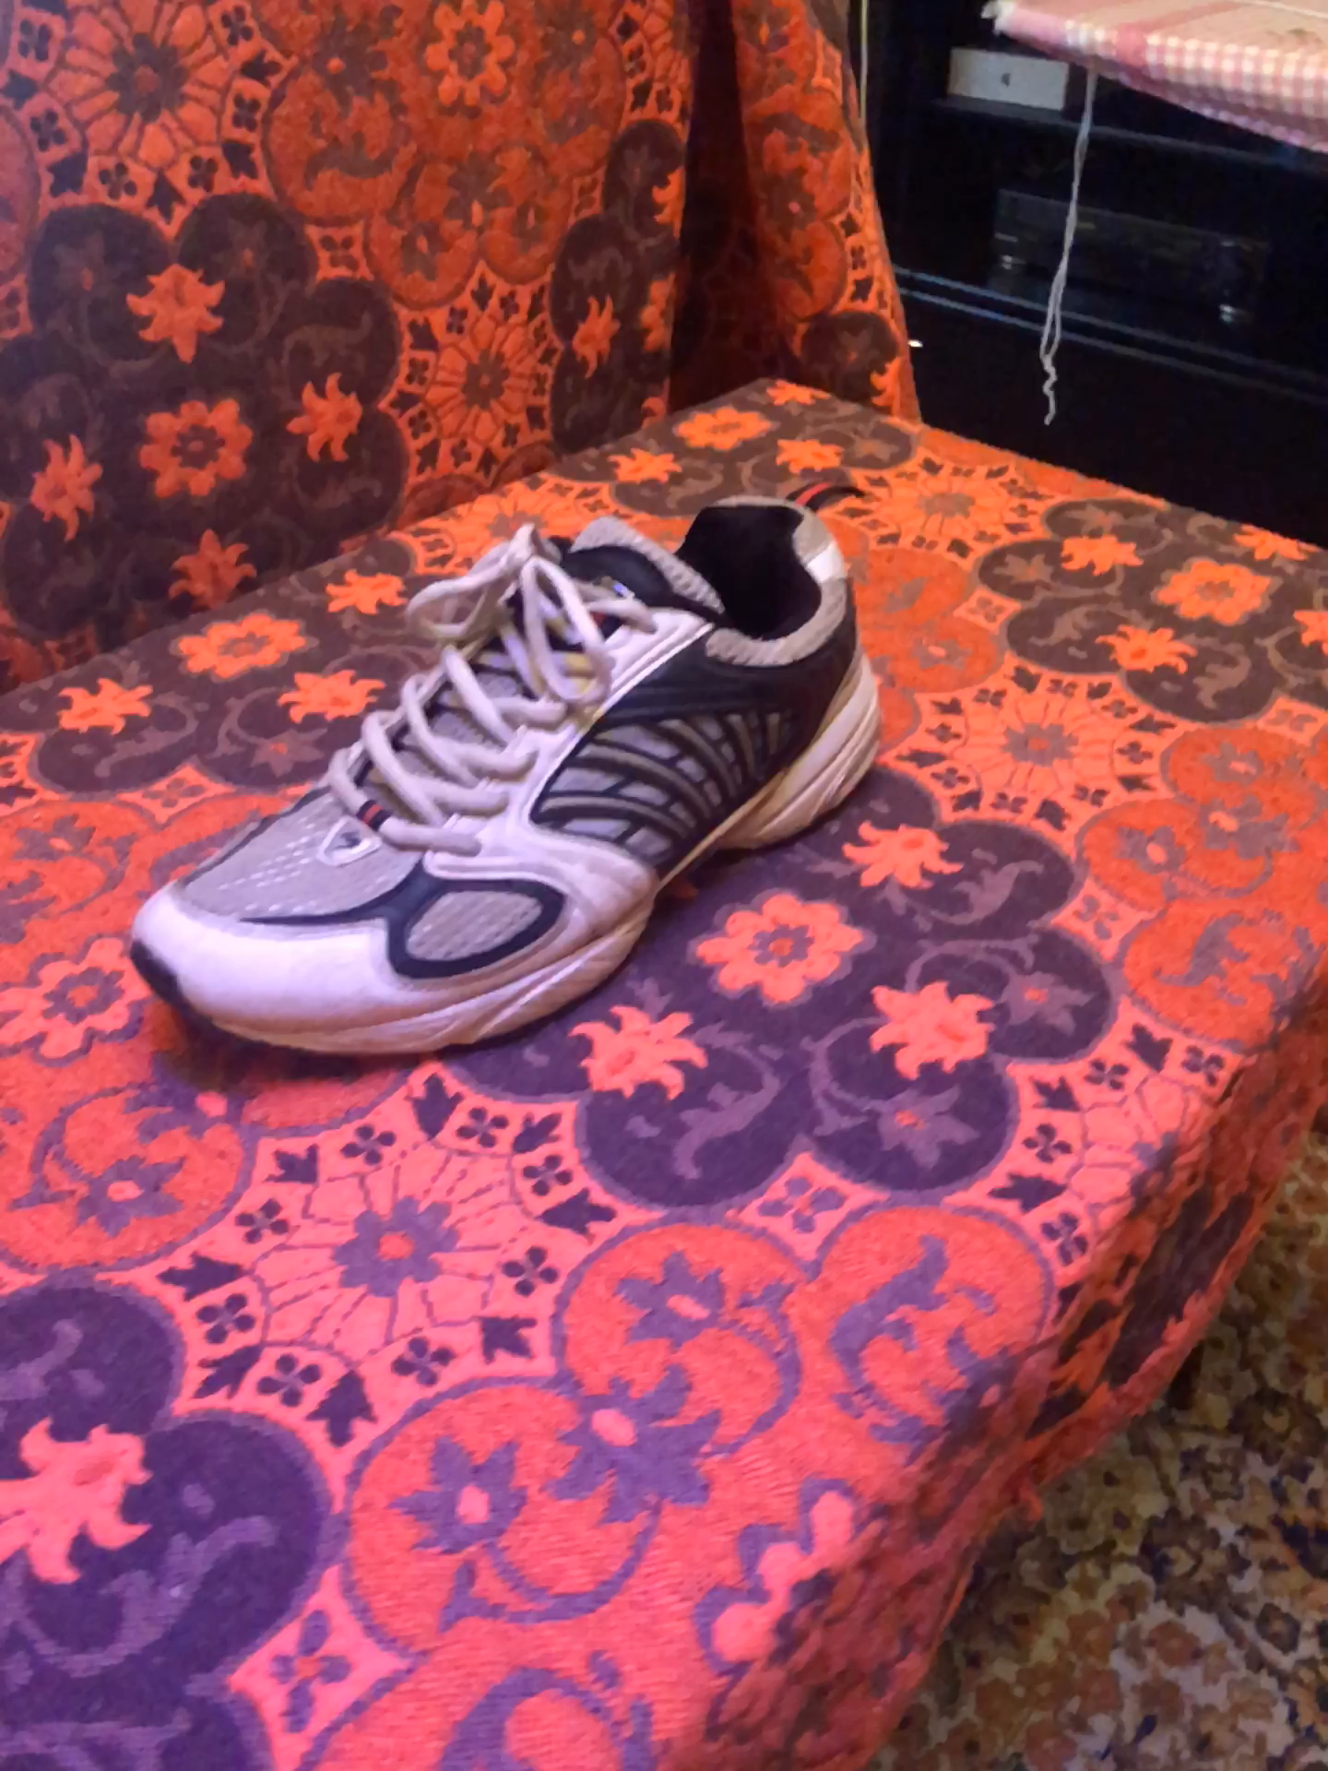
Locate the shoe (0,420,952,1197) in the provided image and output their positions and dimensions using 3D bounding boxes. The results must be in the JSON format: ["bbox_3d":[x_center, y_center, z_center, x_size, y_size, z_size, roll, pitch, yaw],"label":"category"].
[{"bbox_3d":[-0.044,-0.049,0.497,0.120,0.109,0.301,29,46,33],"label":"shoe"}]
